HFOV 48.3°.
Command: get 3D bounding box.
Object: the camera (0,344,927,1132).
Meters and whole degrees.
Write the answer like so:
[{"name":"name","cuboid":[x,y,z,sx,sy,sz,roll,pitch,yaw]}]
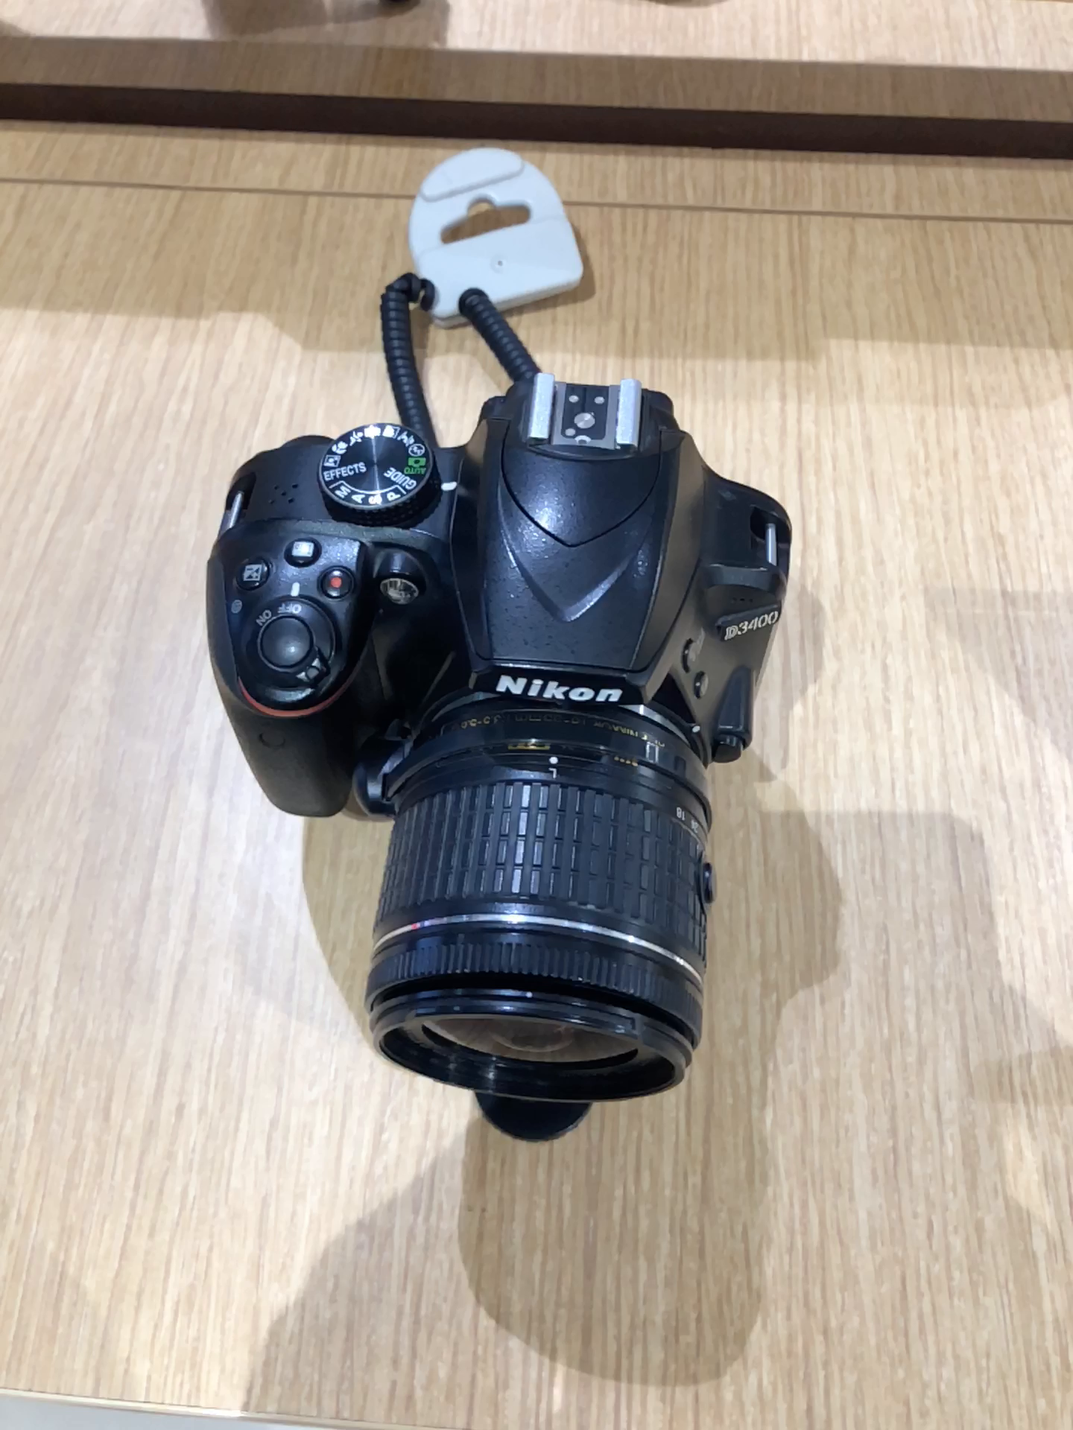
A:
[{"name":"camera","cuboid":[-0.008,0.005,0.234,0.133,0.084,0.121,4,60,3]}]
